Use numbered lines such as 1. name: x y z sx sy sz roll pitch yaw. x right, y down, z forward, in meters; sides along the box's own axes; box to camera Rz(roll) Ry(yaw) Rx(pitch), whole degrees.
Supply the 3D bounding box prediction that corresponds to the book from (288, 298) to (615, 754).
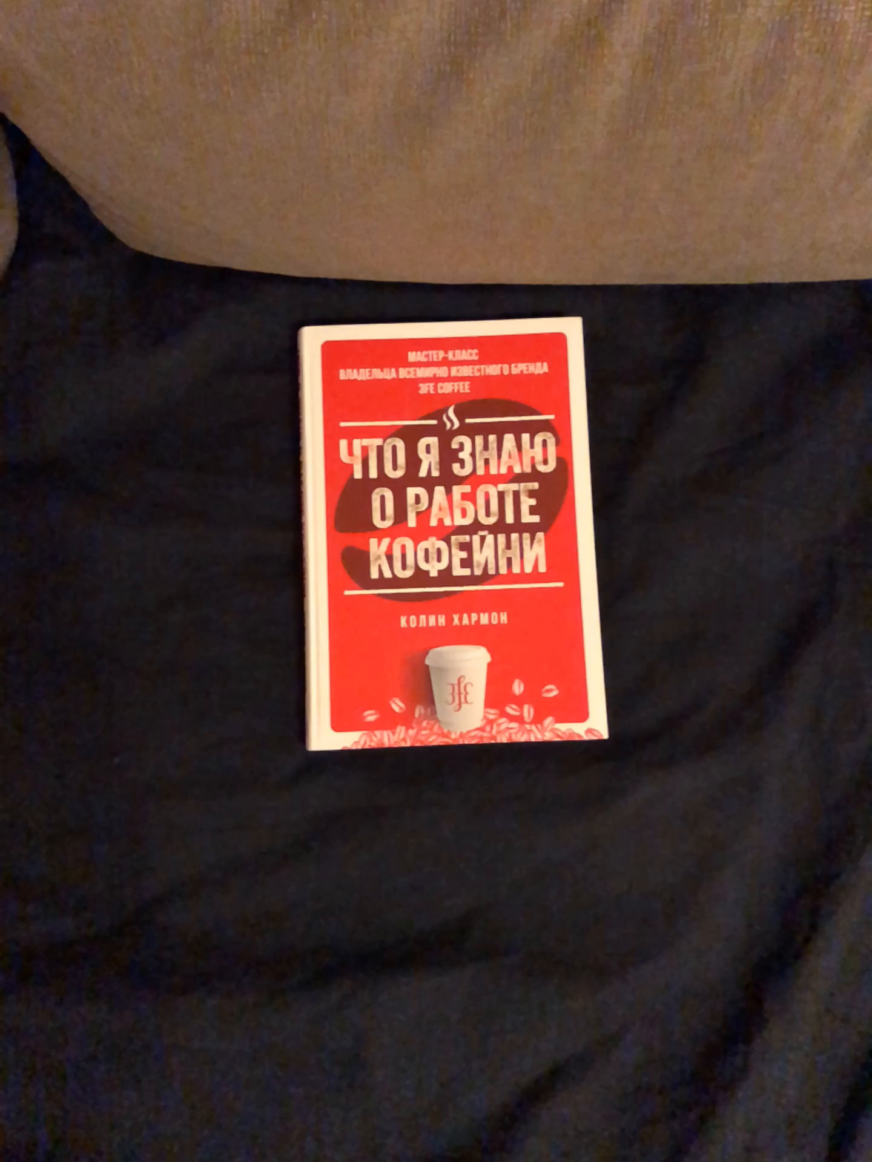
1. book: 0.006 -0.029 0.484 0.153 0.020 0.222 -2 83 1
